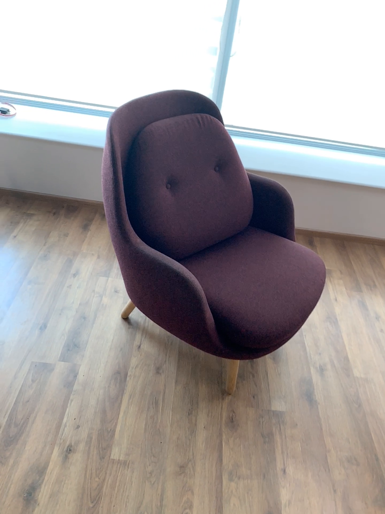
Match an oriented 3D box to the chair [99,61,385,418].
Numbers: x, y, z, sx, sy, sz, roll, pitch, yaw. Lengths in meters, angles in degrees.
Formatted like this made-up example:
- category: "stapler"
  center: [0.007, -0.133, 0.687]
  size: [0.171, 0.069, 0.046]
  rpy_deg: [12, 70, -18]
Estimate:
- category: "chair"
  center: [0.147, -0.090, 1.455]
  size: [0.632, 0.932, 0.694]
  rpy_deg: [31, 44, 24]
